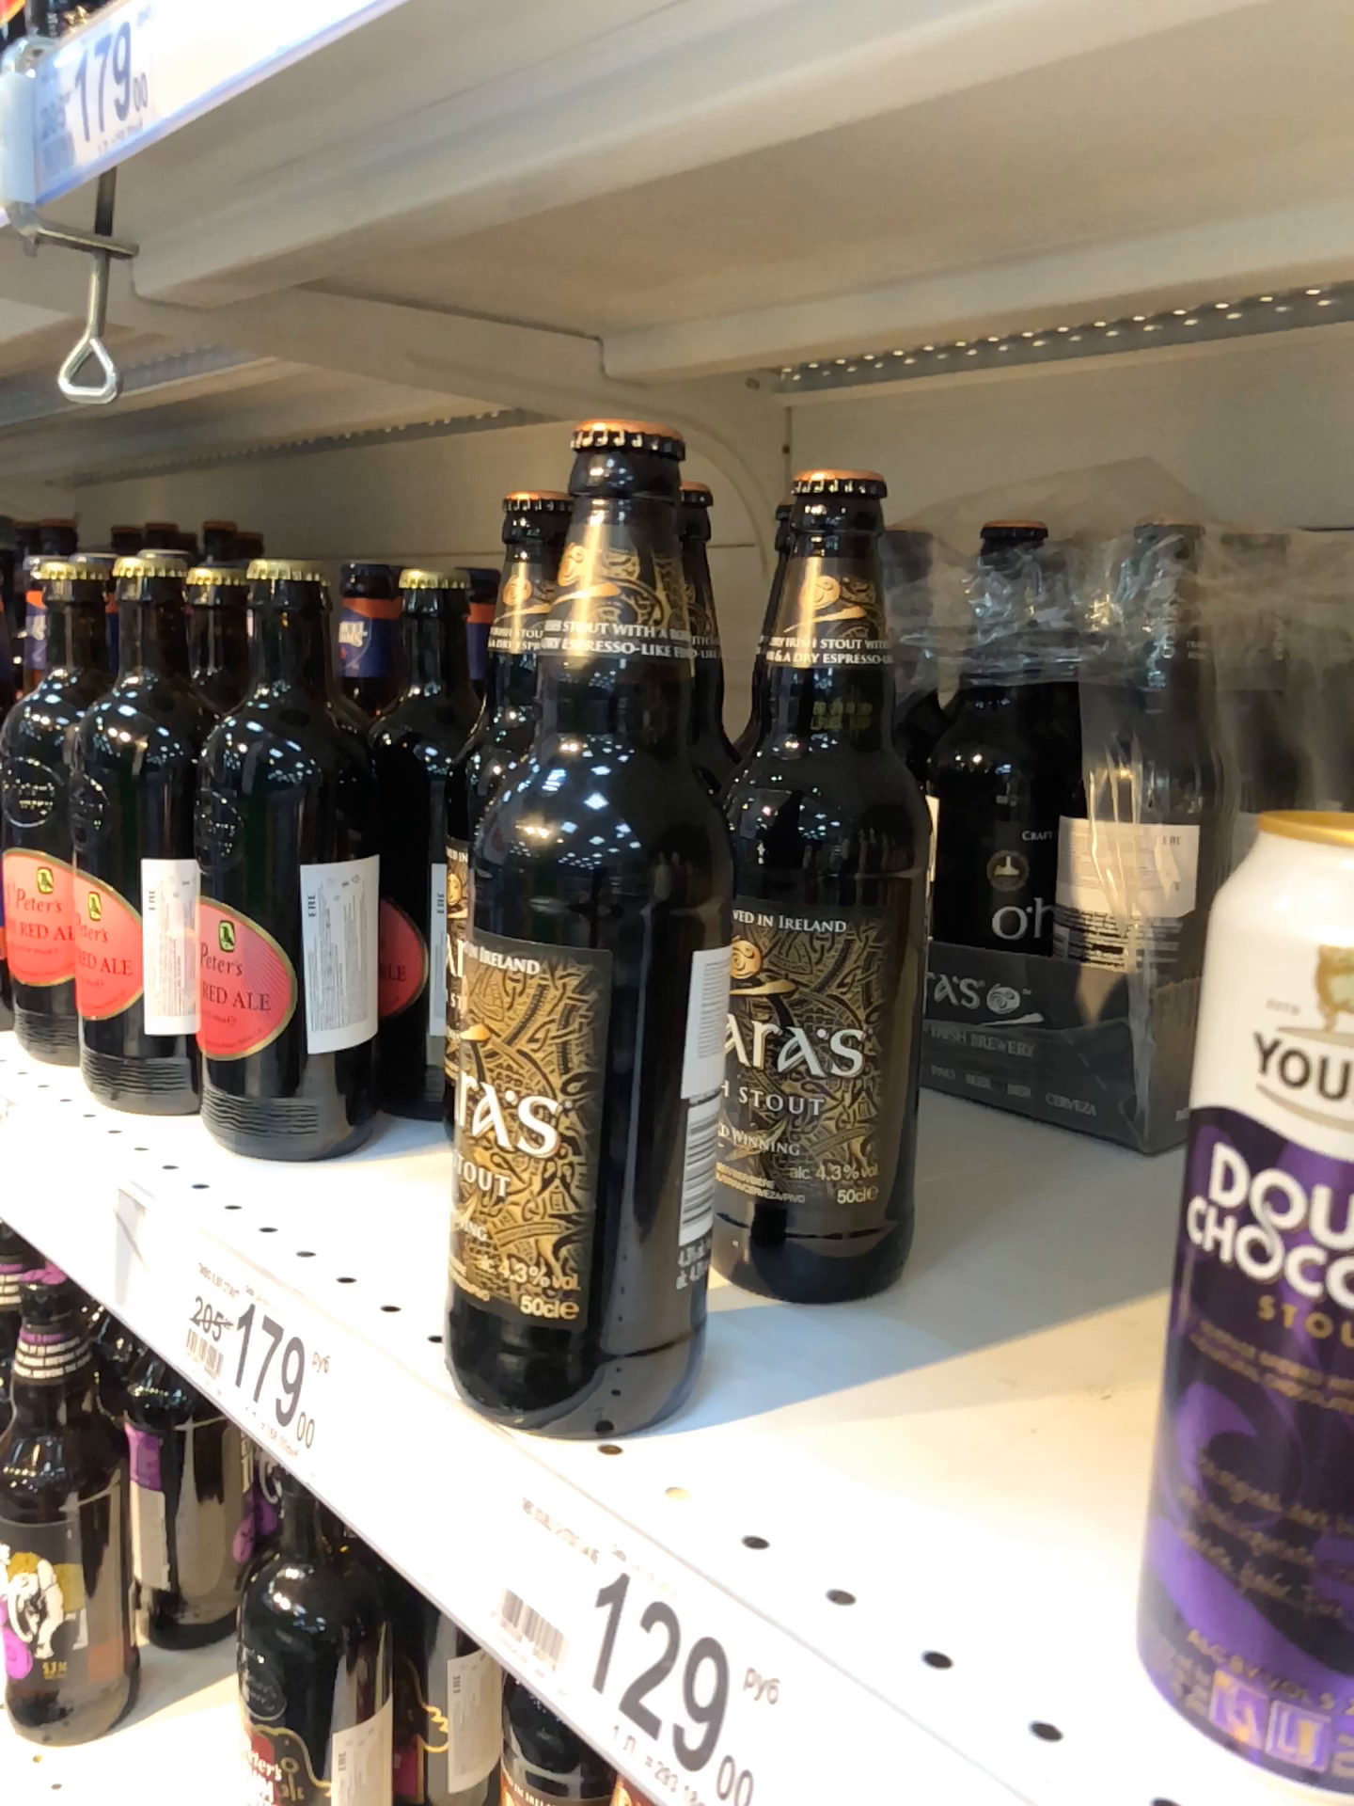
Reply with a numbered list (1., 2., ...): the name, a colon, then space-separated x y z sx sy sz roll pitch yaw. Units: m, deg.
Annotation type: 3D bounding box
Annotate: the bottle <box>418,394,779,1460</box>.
1. bottle: -0.024 0.005 0.373 0.070 0.239 0.070 1 10 0
